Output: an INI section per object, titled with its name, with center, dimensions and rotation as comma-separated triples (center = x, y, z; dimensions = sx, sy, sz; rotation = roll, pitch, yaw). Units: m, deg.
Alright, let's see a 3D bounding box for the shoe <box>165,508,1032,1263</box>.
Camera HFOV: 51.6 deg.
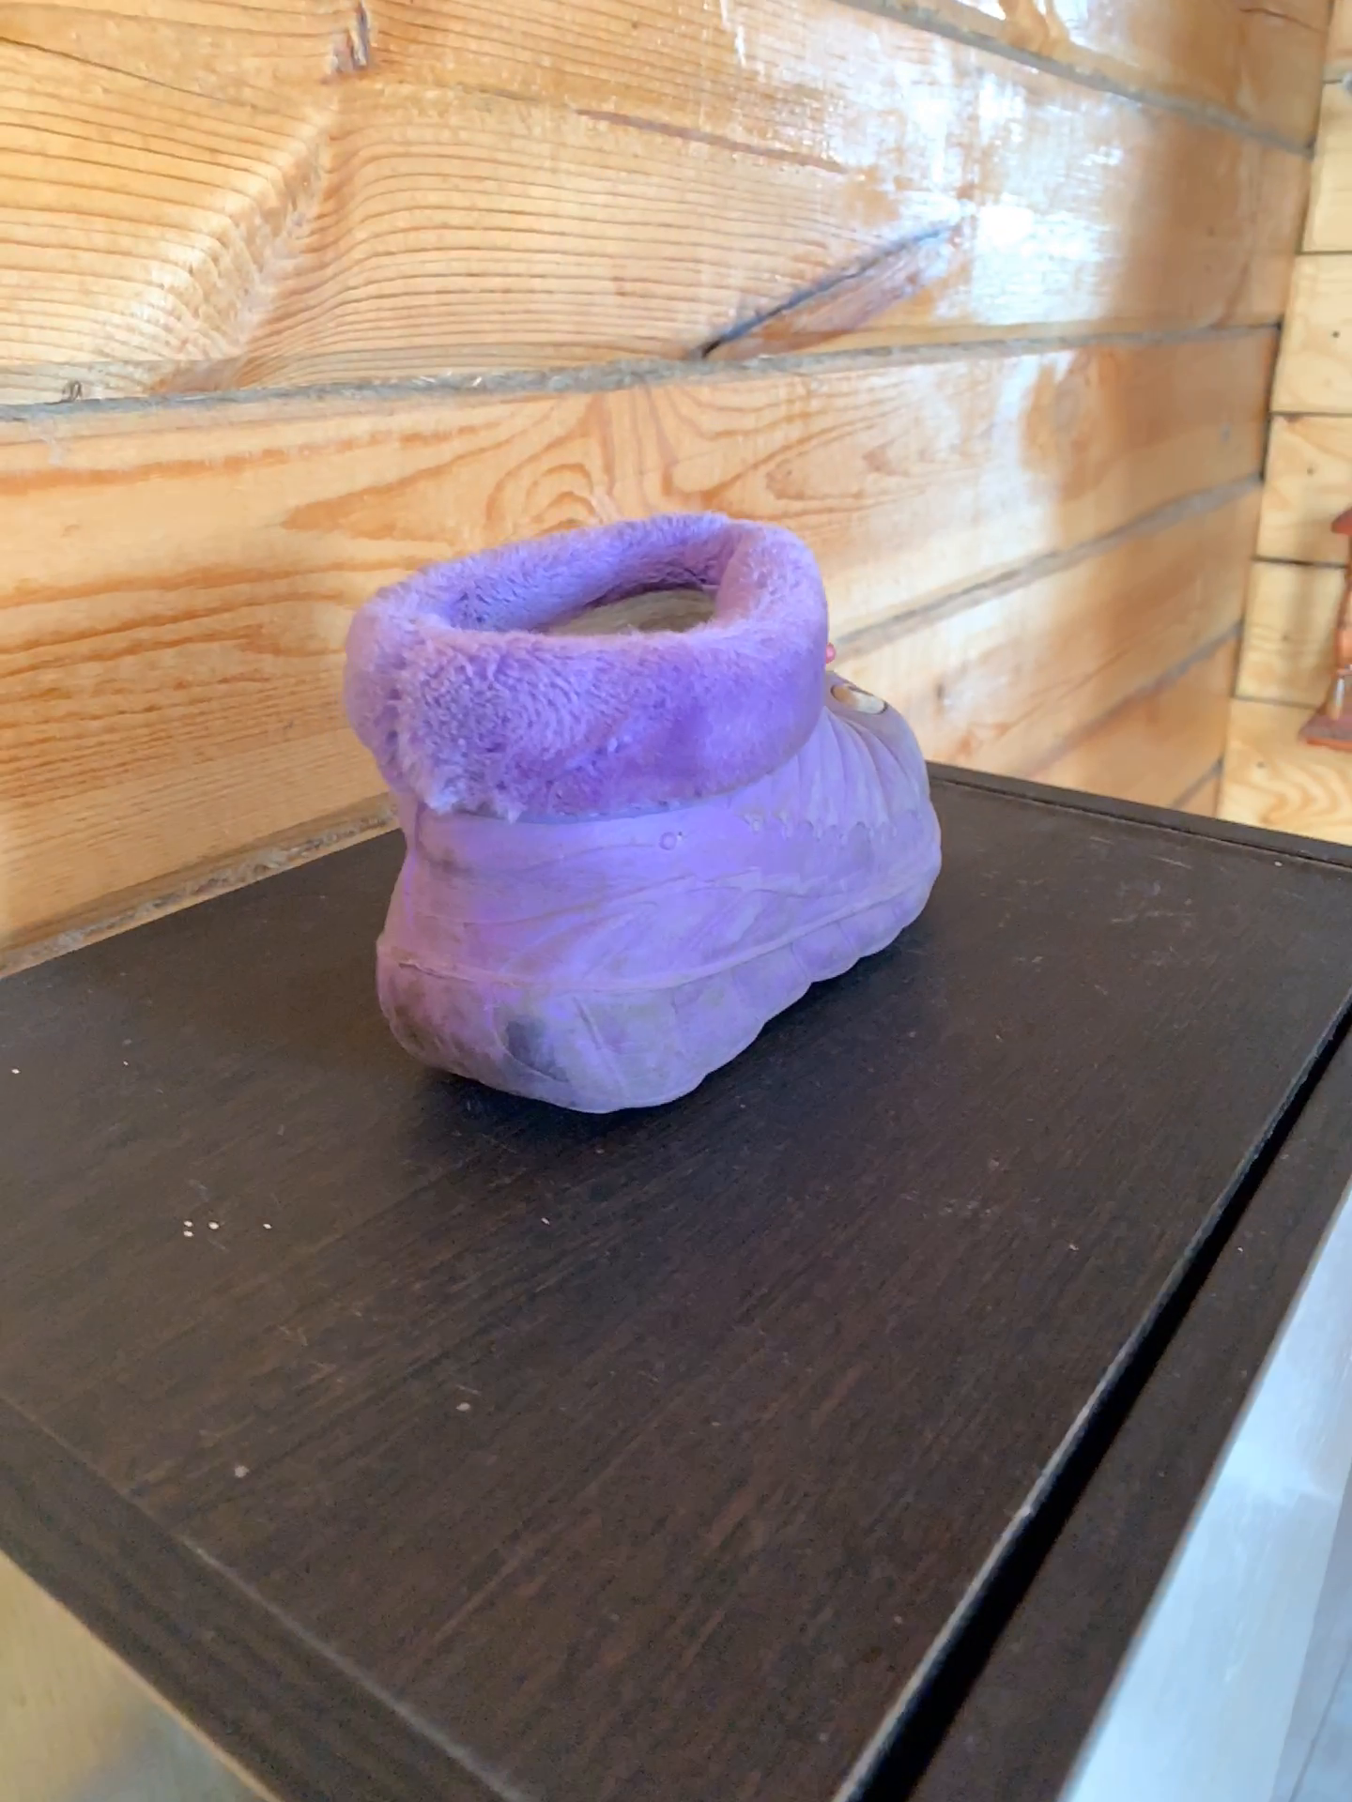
[shoe]
center = 0.001, -0.026, 0.323
dimensions = 0.090, 0.099, 0.201
rotation = 13, 26, 30
